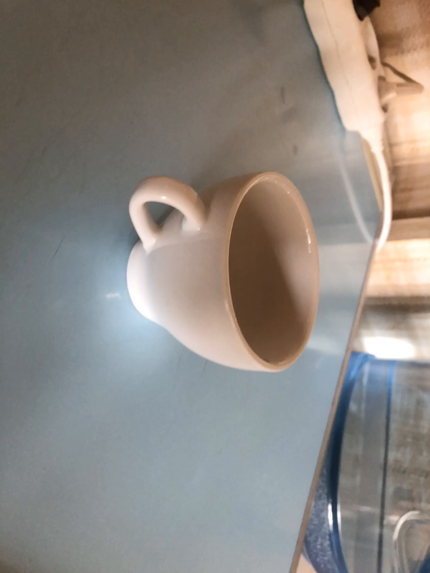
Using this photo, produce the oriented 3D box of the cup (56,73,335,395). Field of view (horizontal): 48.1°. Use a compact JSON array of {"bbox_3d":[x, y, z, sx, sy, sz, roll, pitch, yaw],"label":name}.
[{"bbox_3d":[0.003,-0.014,0.219,0.107,0.057,0.097,37,58,-49],"label":"cup"}]
